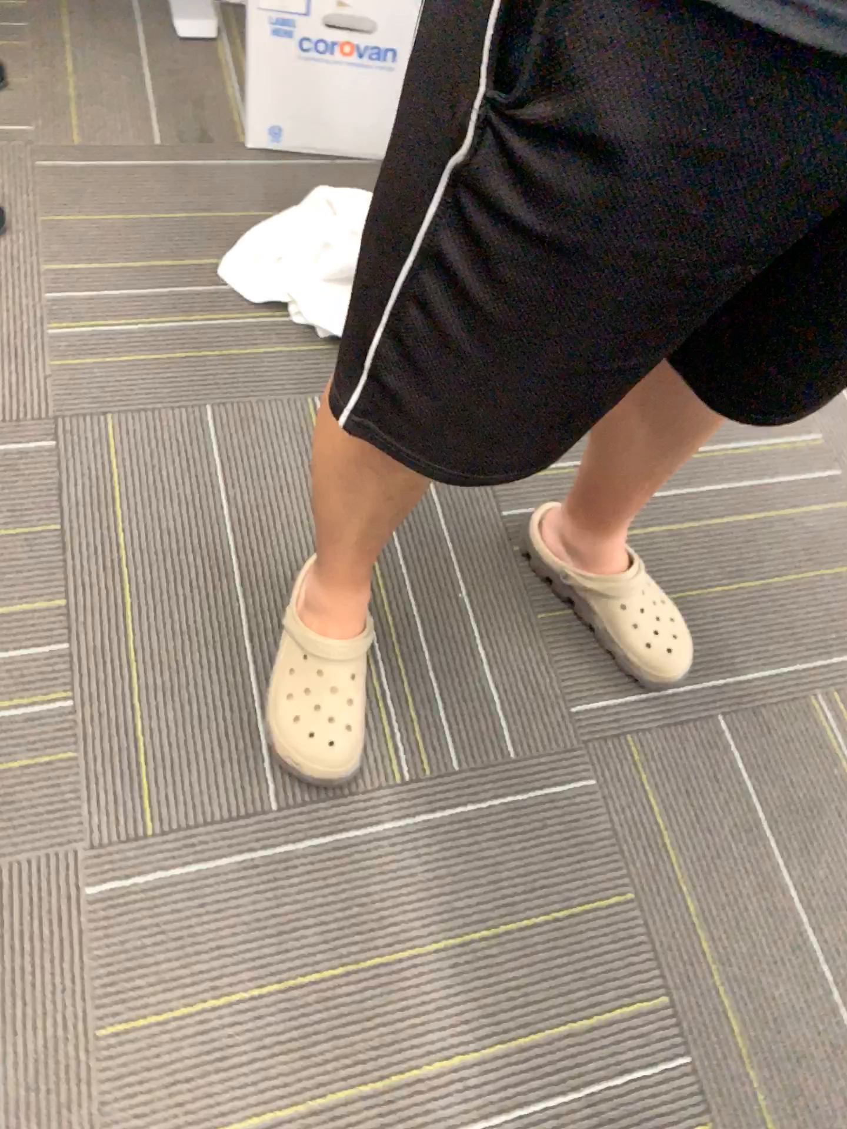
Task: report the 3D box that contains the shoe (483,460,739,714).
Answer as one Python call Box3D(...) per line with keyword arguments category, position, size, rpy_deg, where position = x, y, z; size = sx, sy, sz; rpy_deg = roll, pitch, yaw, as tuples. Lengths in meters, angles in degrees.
Box3D(category="shoe", position=(0.251, 0.025, 1.206), size=(0.140, 0.090, 0.331), rpy_deg=(-33, 70, -26))

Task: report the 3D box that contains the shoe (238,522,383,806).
Box3D(category="shoe", position=(-0.134, 0.117, 1.076), size=(0.150, 0.090, 0.331), rpy_deg=(5, 59, -8))
